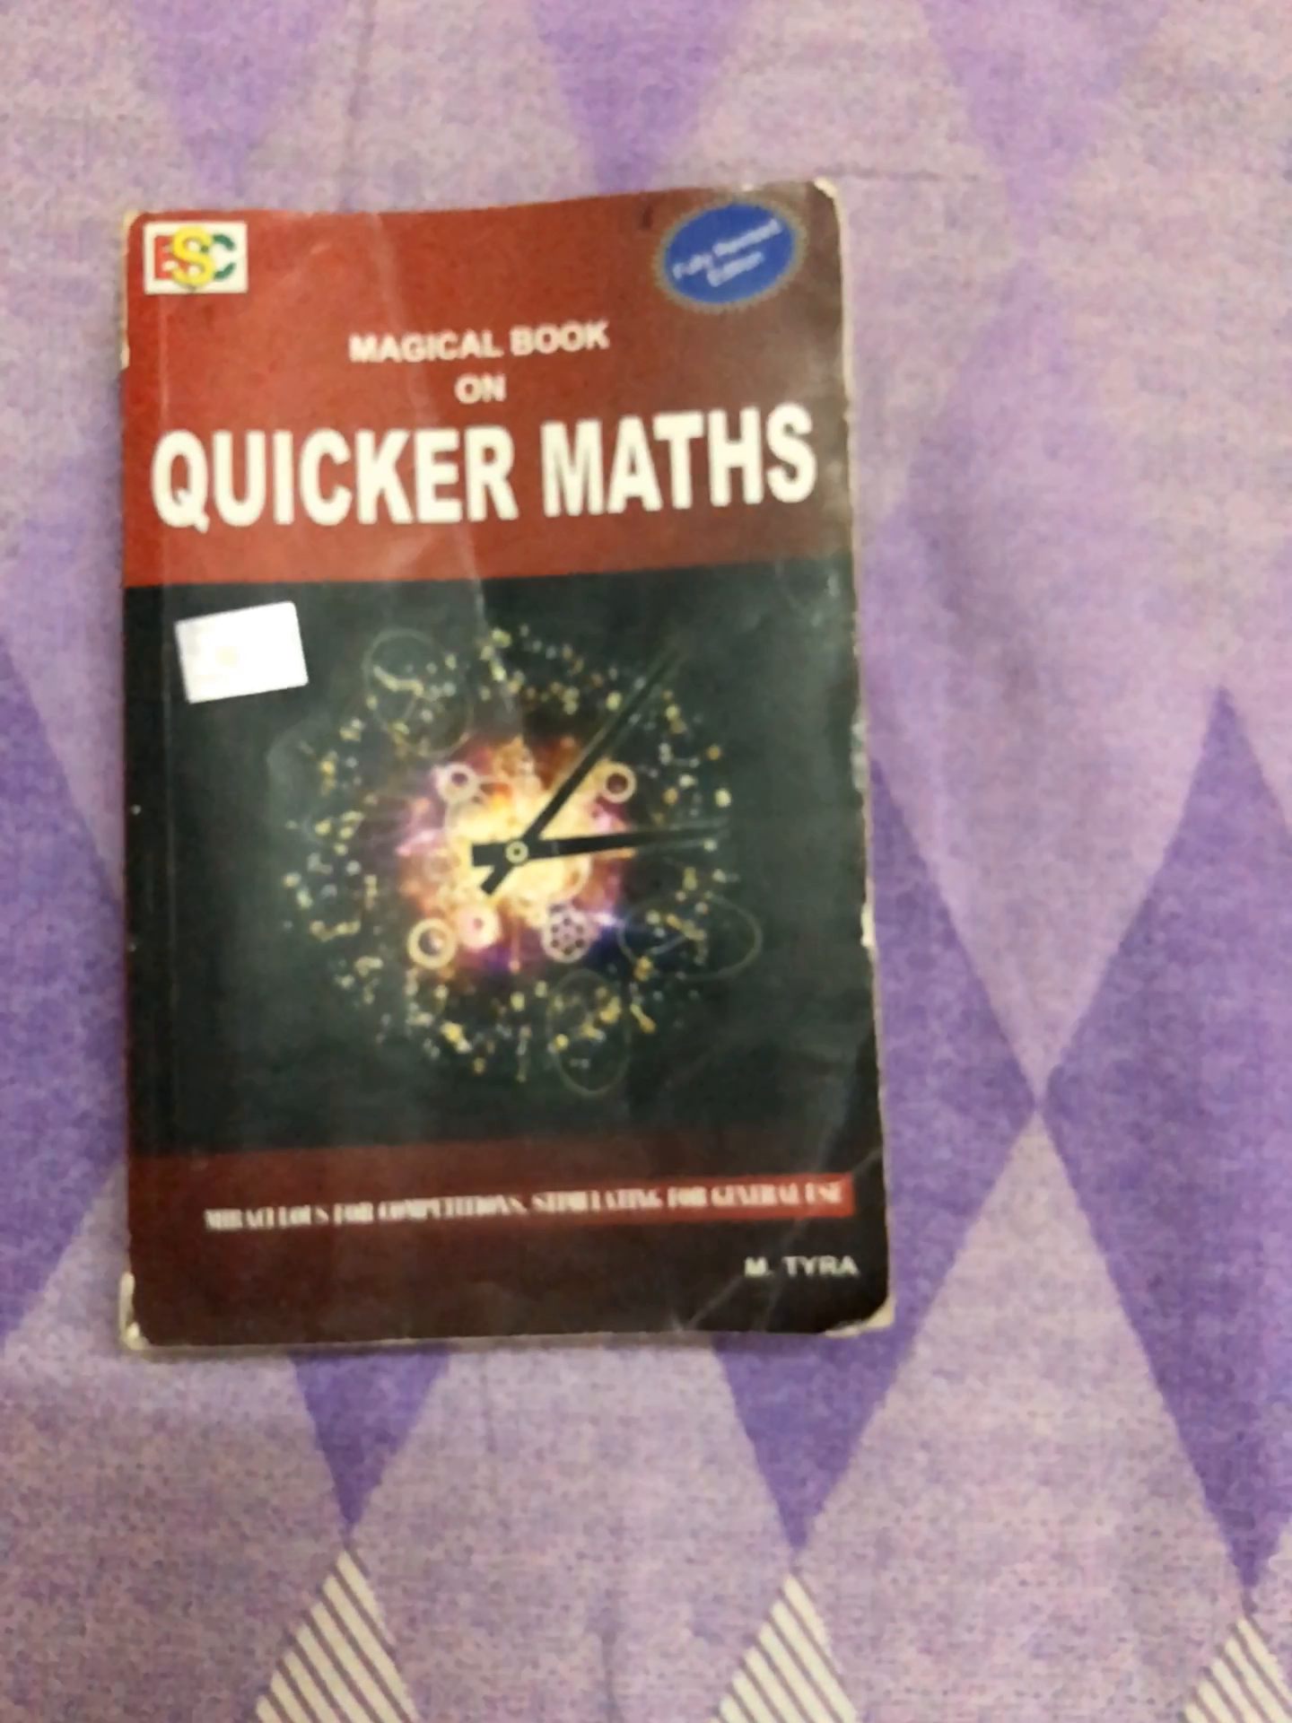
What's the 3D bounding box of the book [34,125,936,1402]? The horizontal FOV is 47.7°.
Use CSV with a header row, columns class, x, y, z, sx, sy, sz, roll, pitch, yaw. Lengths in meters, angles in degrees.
class,x,y,z,sx,sy,sz,roll,pitch,yaw
book,-0.032,-0.020,0.282,0.150,0.050,0.220,-3,84,-1
